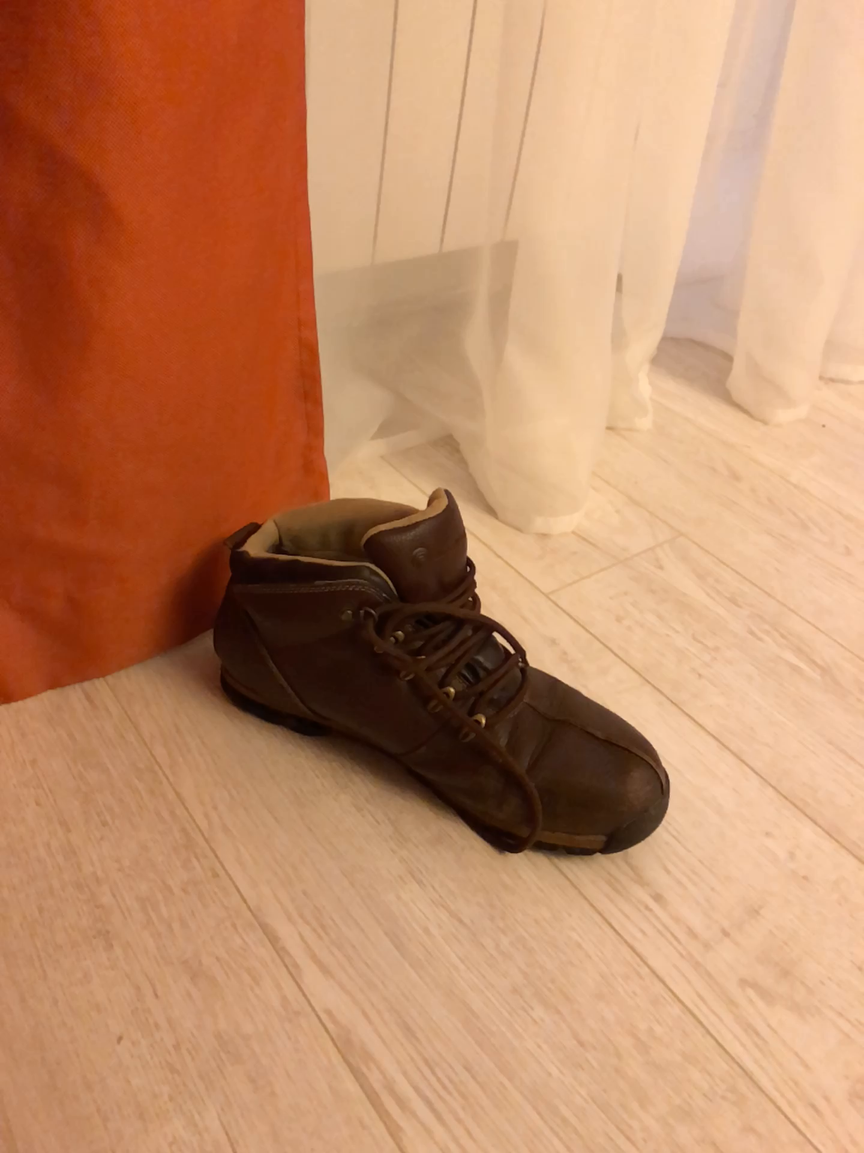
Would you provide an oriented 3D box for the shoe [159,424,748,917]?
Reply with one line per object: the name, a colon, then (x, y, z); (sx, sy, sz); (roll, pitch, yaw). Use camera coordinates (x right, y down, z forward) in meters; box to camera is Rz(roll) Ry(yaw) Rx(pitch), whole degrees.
shoe: (0.004, 0.045, 0.559); (0.300, 0.159, 0.111); (20, 40, 18)
